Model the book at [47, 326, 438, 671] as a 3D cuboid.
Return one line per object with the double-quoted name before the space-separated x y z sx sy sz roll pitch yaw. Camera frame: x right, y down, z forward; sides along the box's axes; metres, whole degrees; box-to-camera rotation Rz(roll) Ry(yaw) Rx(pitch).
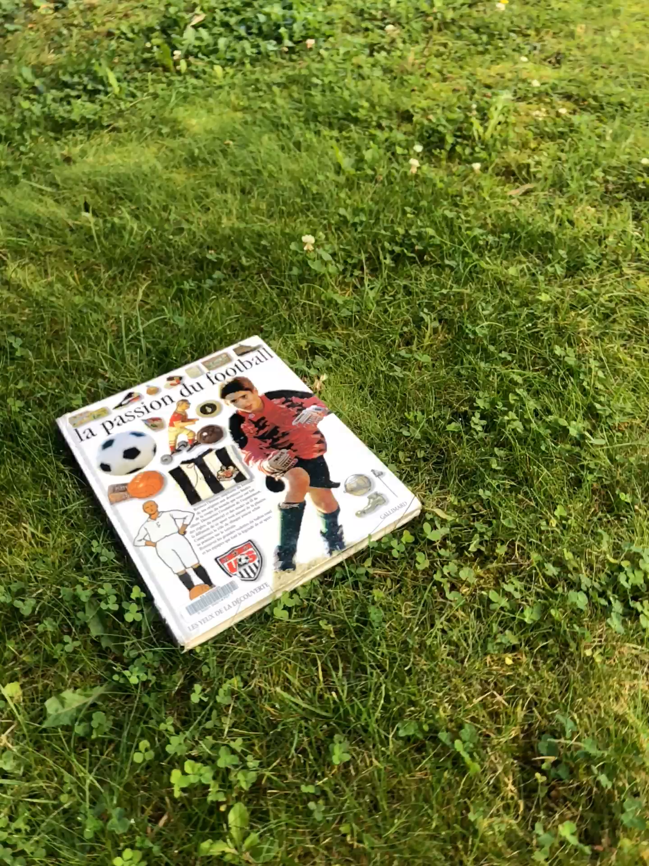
"book" -0.086 0.028 0.637 0.231 0.020 0.301 -27 49 -21
